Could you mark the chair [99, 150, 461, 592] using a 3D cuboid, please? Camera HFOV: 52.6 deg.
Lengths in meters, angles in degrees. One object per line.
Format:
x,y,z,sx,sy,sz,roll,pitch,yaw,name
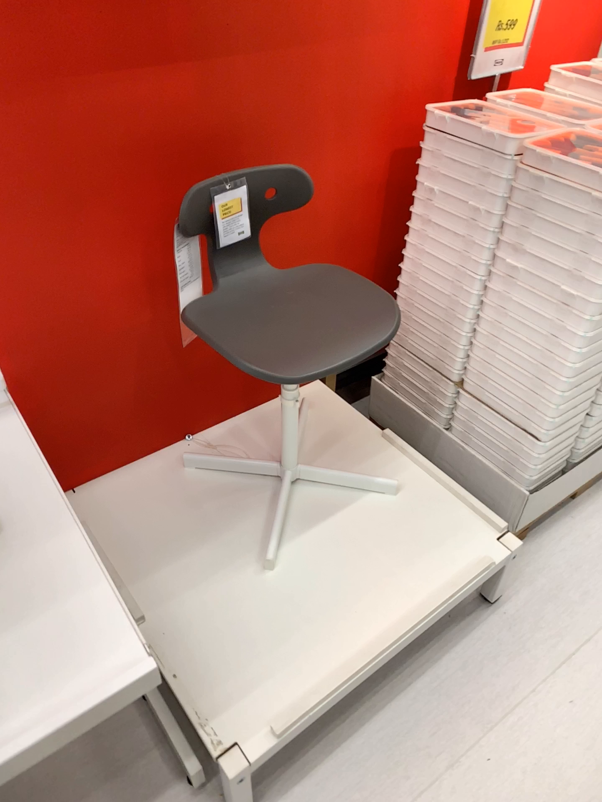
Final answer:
-0.052,-0.071,1.295,0.461,0.697,0.451,-26,47,-28,chair
